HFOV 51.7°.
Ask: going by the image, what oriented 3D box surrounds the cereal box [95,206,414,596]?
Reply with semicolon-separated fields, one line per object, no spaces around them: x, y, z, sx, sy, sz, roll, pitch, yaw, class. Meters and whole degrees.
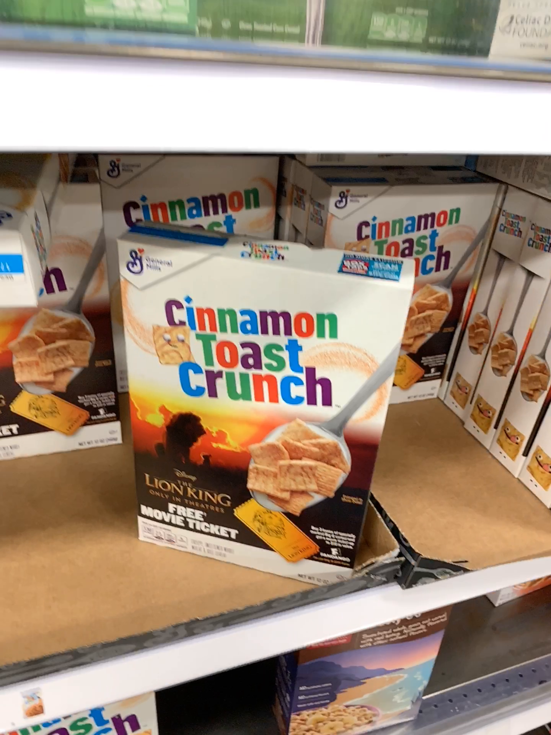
-0.019;0.037;0.430;0.190;0.278;0.060;10;33;10;cereal box
